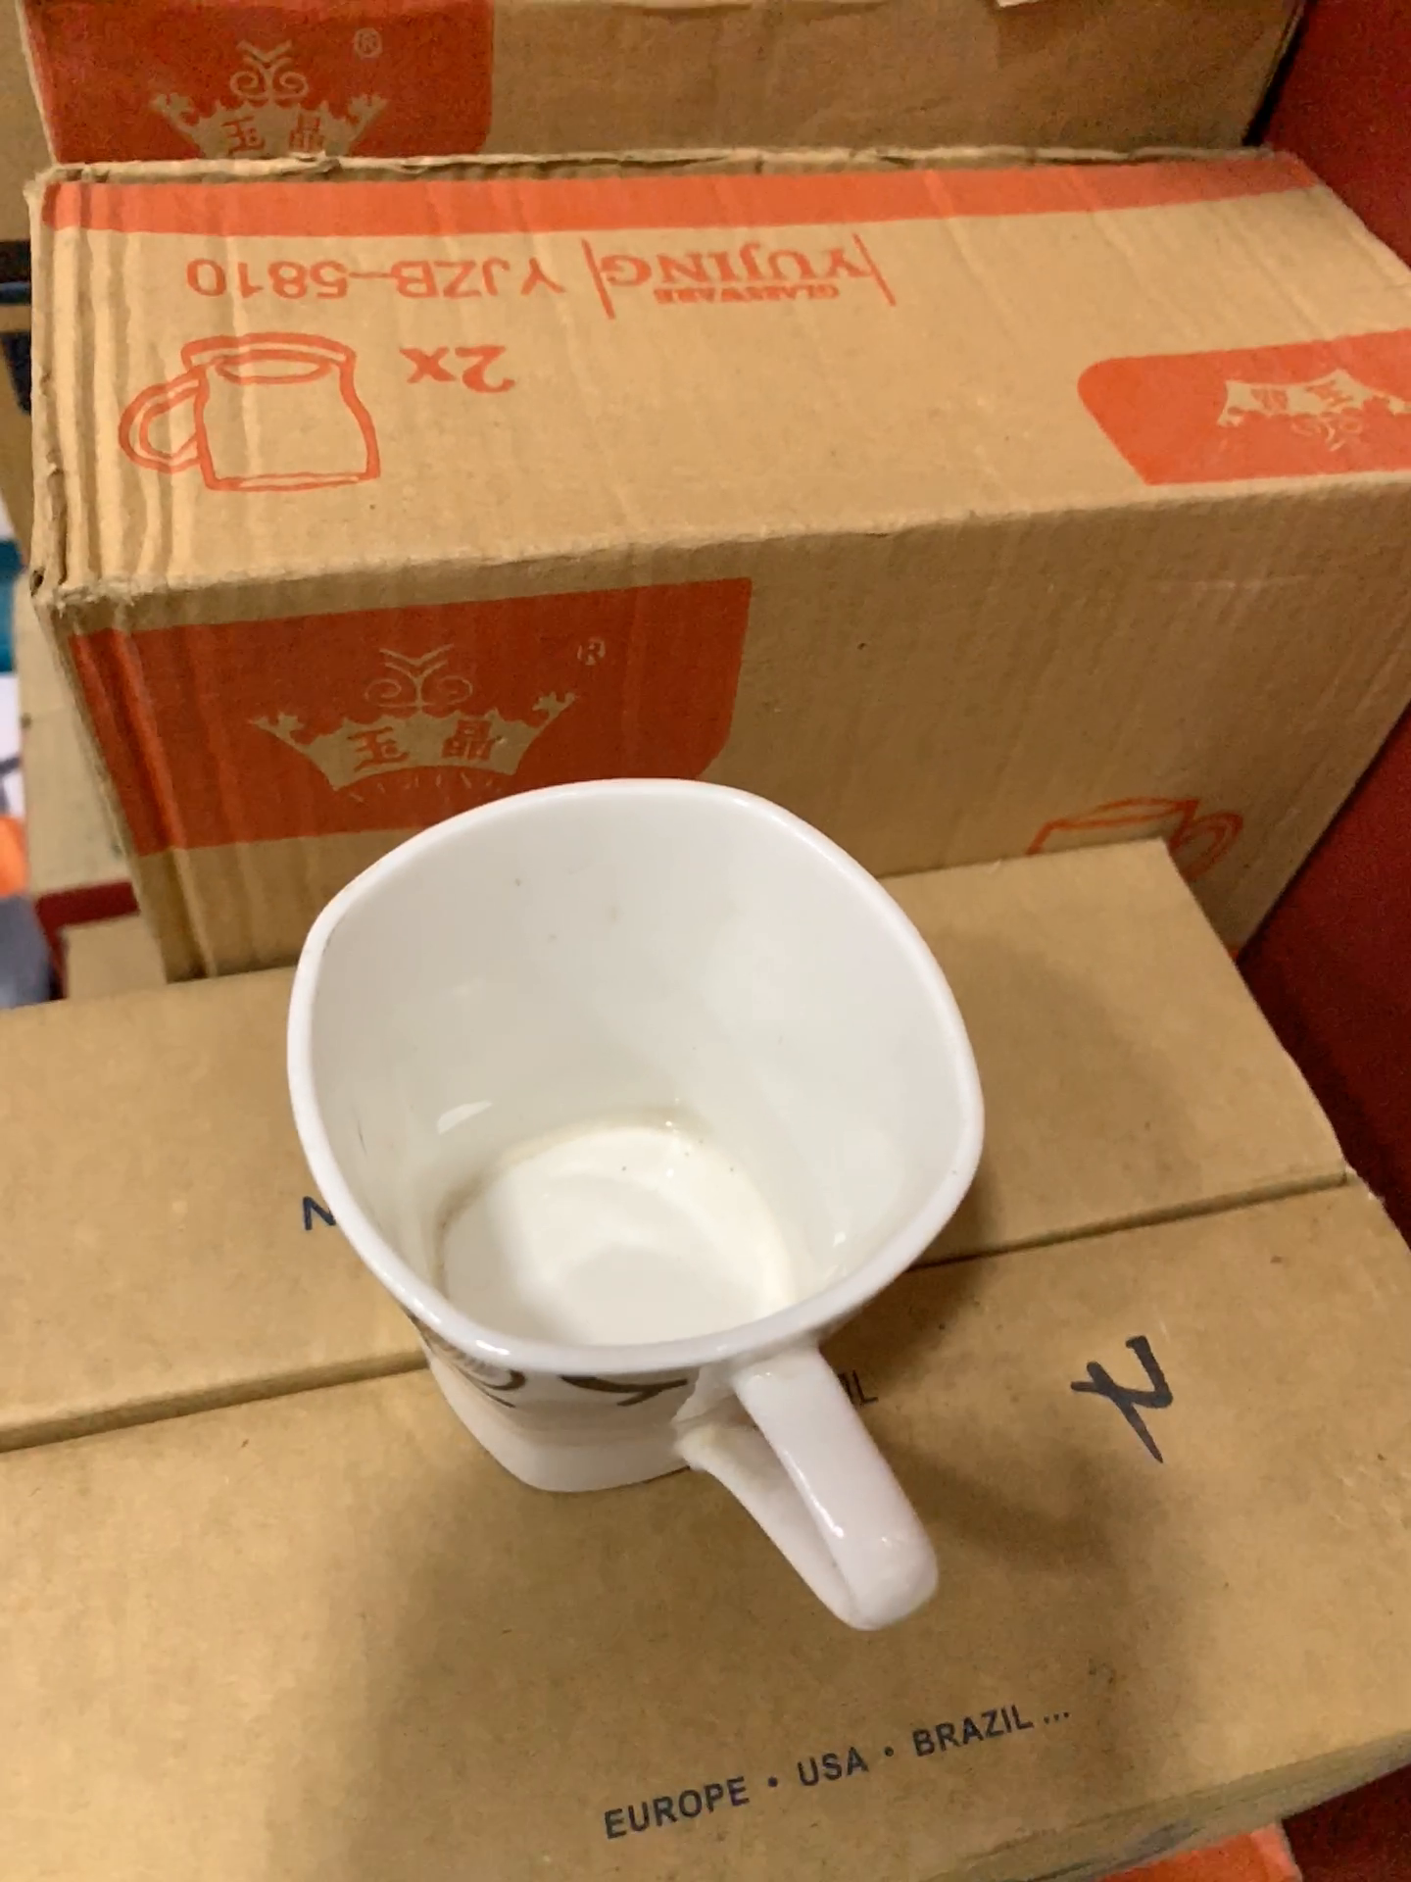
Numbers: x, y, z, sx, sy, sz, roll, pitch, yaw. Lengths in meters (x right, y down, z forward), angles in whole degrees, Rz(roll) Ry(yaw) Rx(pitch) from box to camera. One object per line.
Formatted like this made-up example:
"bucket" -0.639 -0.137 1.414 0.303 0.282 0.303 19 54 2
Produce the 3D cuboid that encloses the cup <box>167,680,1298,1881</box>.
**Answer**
"cup" -0.004 0.032 0.153 0.060 0.060 0.090 -24 58 -22
